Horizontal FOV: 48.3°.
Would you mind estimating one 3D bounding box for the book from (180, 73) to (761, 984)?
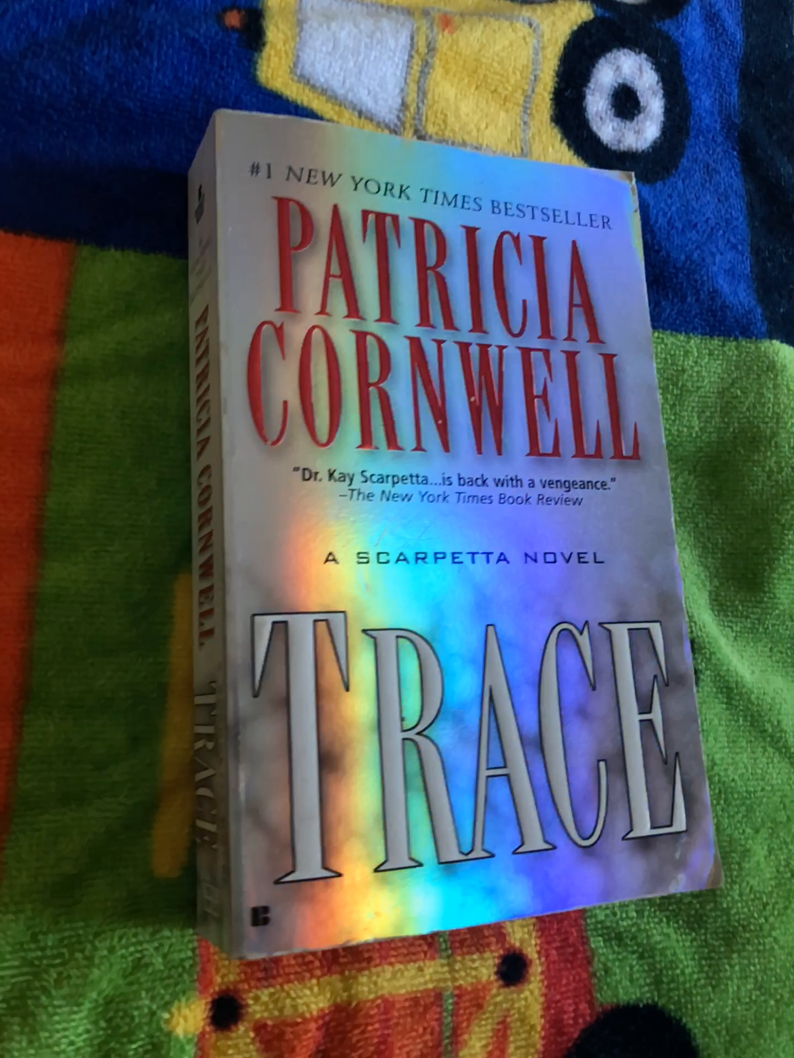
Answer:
[{"bbox_3d":[0.013,-0.004,0.212,0.120,0.040,0.180,1,77,-23],"label":"book"}]
